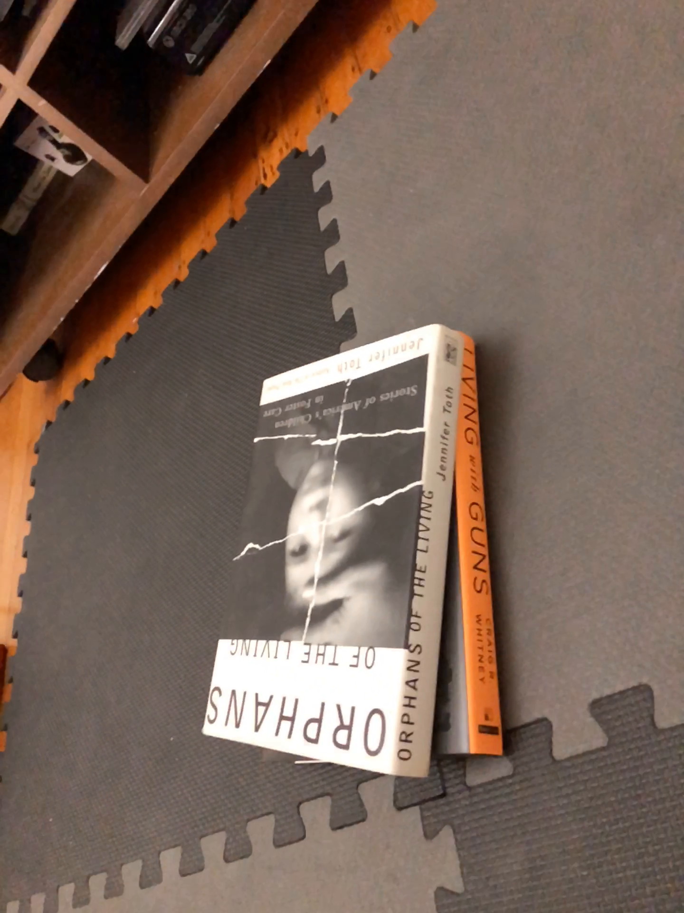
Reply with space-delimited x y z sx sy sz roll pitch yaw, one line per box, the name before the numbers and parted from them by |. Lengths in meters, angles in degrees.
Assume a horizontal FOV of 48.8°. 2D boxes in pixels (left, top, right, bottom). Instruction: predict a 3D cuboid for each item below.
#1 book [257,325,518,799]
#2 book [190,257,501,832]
book | 0.017 0.065 0.450 0.160 0.030 0.251 -25 54 41
book | -0.001 0.043 0.434 0.181 0.030 0.280 -13 63 47
